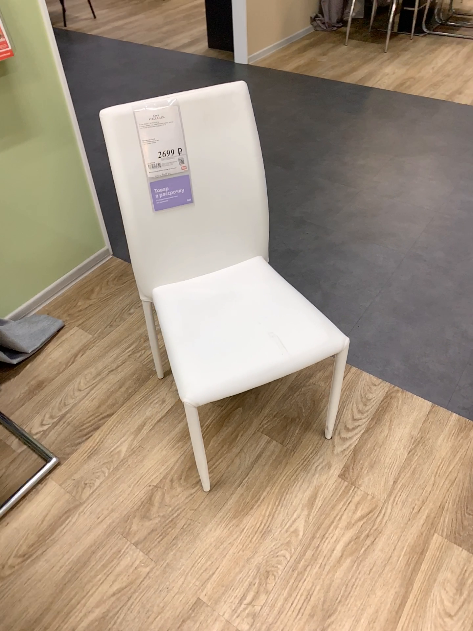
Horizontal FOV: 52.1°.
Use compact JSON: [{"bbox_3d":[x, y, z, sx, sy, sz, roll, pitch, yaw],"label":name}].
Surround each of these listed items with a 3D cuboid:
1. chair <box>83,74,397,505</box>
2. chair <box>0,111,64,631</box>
[{"bbox_3d":[-0.017,-0.036,1.301,0.451,0.925,0.552,-18,46,-16],"label":"chair"},{"bbox_3d":[-0.877,0.174,1.053,0.451,0.945,0.562,25,50,26],"label":"chair"}]
